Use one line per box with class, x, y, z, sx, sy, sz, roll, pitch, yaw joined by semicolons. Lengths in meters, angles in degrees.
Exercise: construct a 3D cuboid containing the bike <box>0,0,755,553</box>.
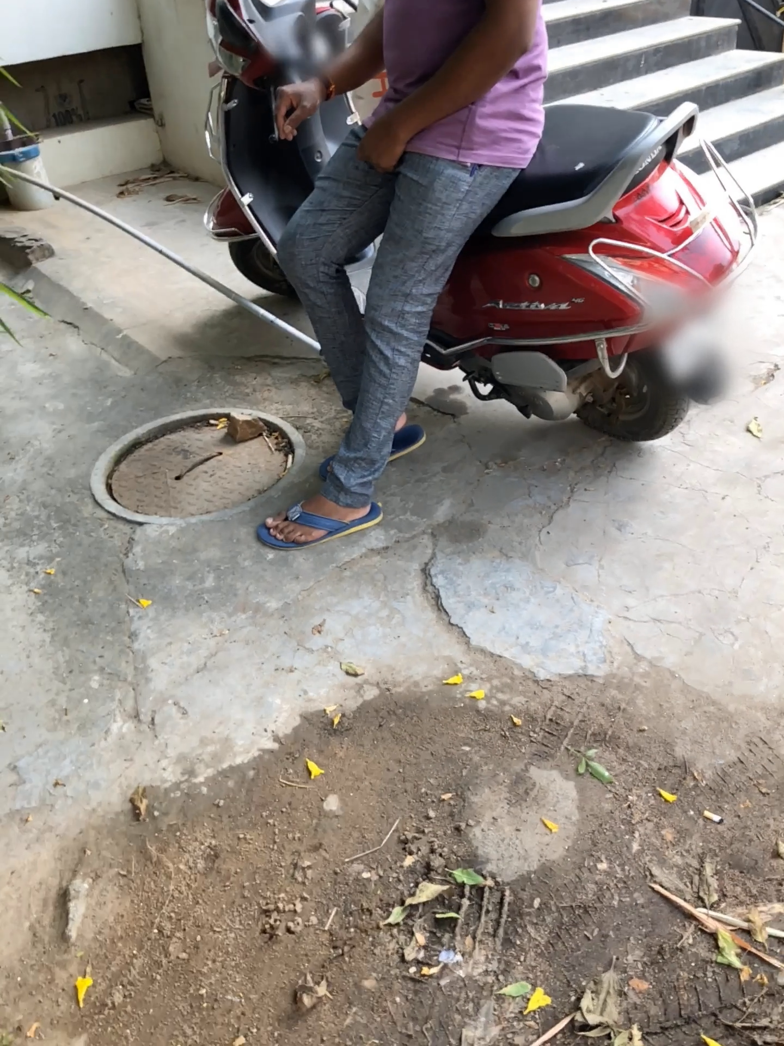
bike;-0.078;-0.790;1.963;1.479;1.056;0.575;25;45;33
